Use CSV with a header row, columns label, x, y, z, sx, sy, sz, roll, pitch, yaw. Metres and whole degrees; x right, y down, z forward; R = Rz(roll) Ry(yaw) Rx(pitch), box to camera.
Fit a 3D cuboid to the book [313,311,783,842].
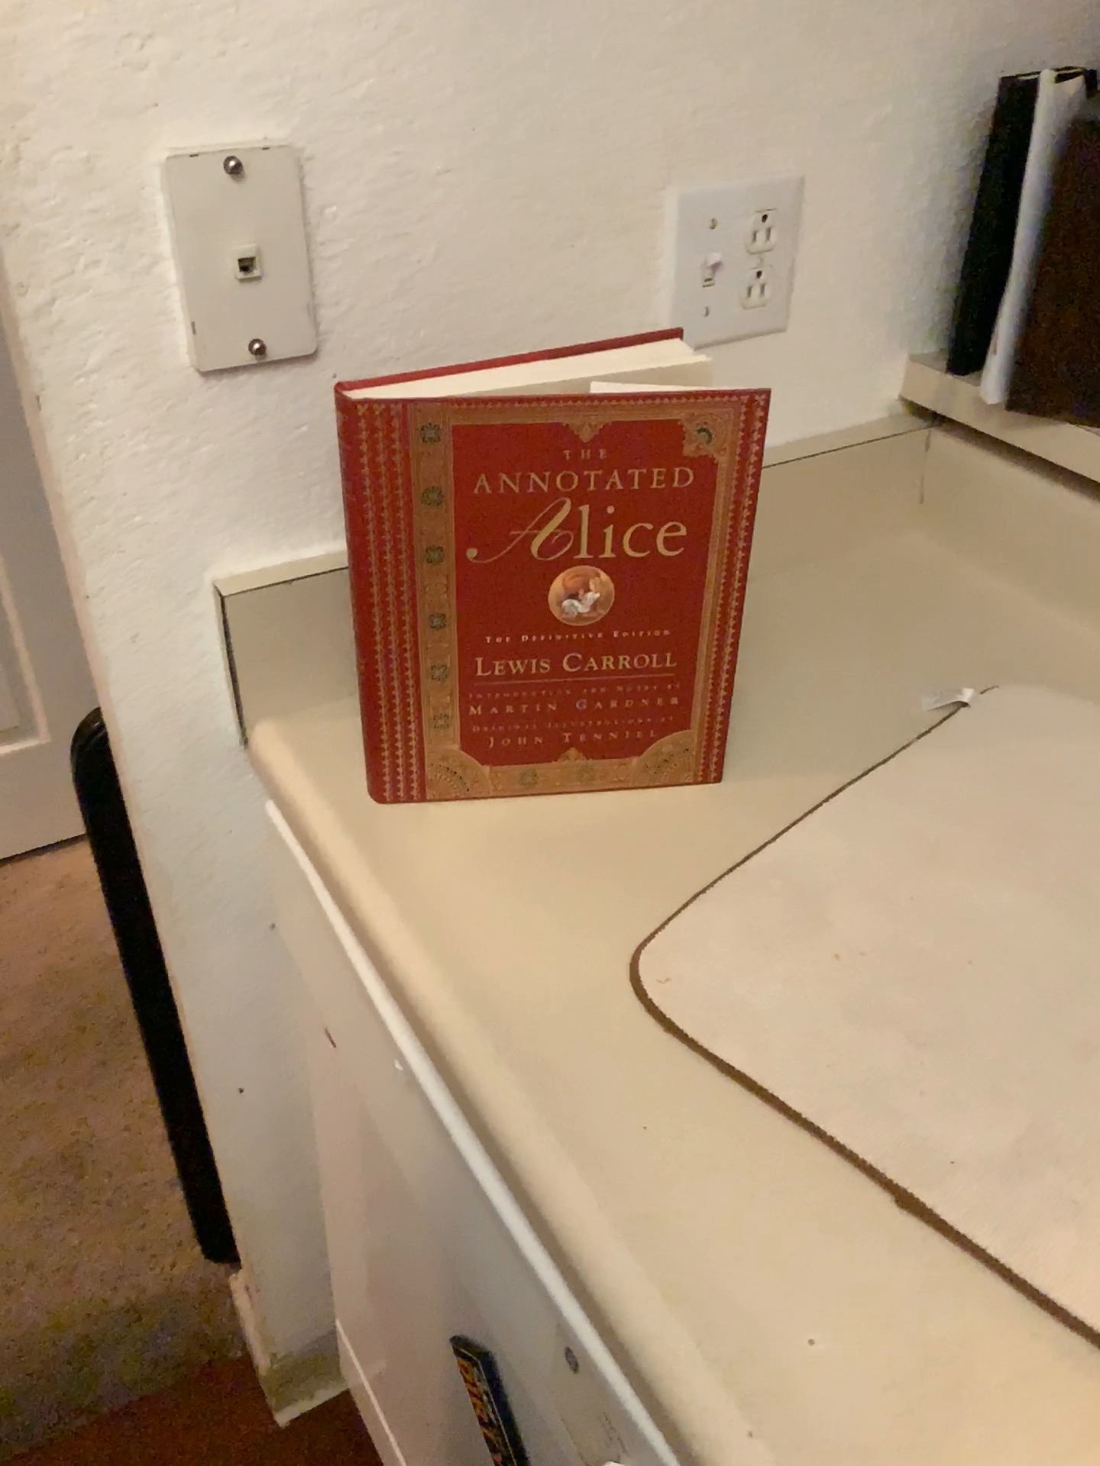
label,x,y,z,sx,sy,sz,roll,pitch,yaw
book,-0.009,-0.096,0.740,0.230,0.260,0.150,-7,36,-10
